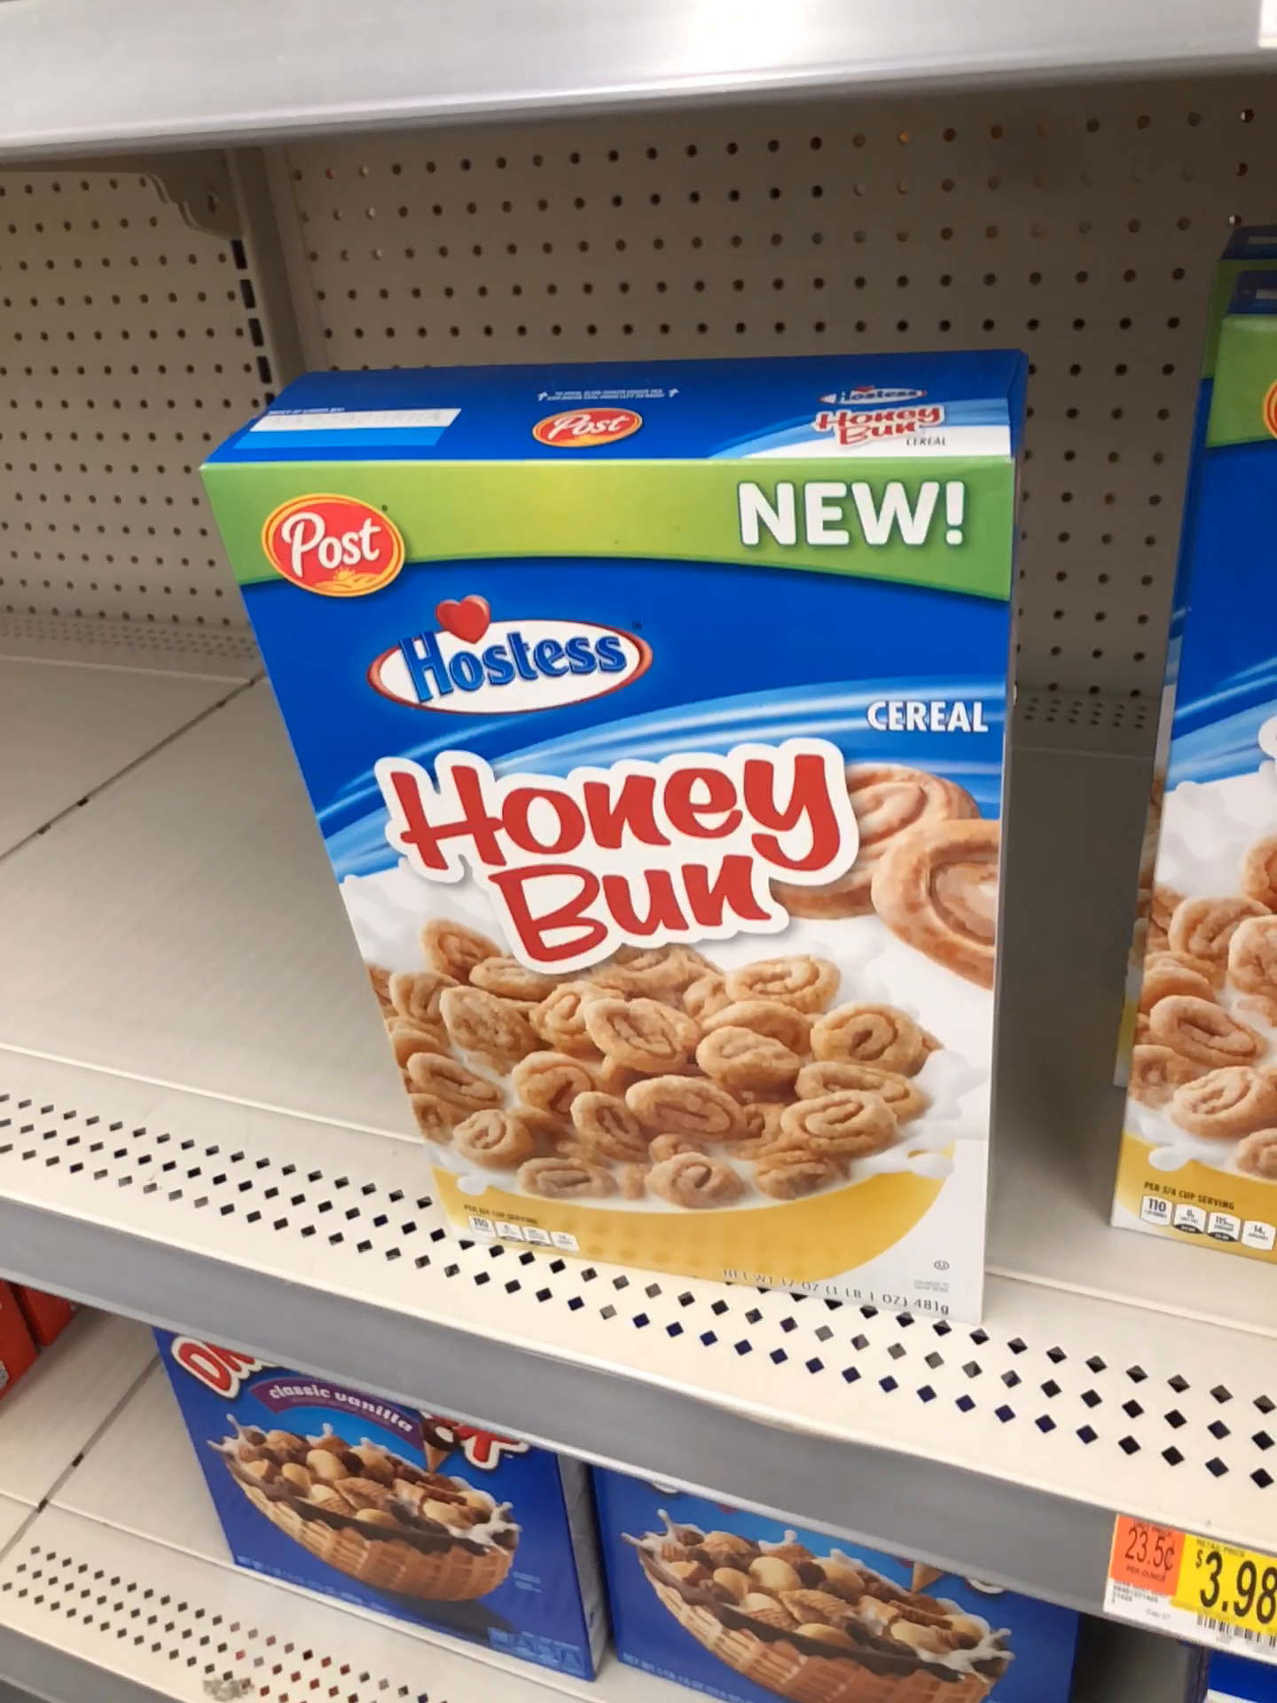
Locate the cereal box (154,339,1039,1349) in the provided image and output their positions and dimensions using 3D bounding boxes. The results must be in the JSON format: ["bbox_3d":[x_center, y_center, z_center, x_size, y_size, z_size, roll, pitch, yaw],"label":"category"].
[{"bbox_3d":[0.007,0.016,0.424,0.200,0.309,0.060,4,39,17],"label":"cereal box"}]
